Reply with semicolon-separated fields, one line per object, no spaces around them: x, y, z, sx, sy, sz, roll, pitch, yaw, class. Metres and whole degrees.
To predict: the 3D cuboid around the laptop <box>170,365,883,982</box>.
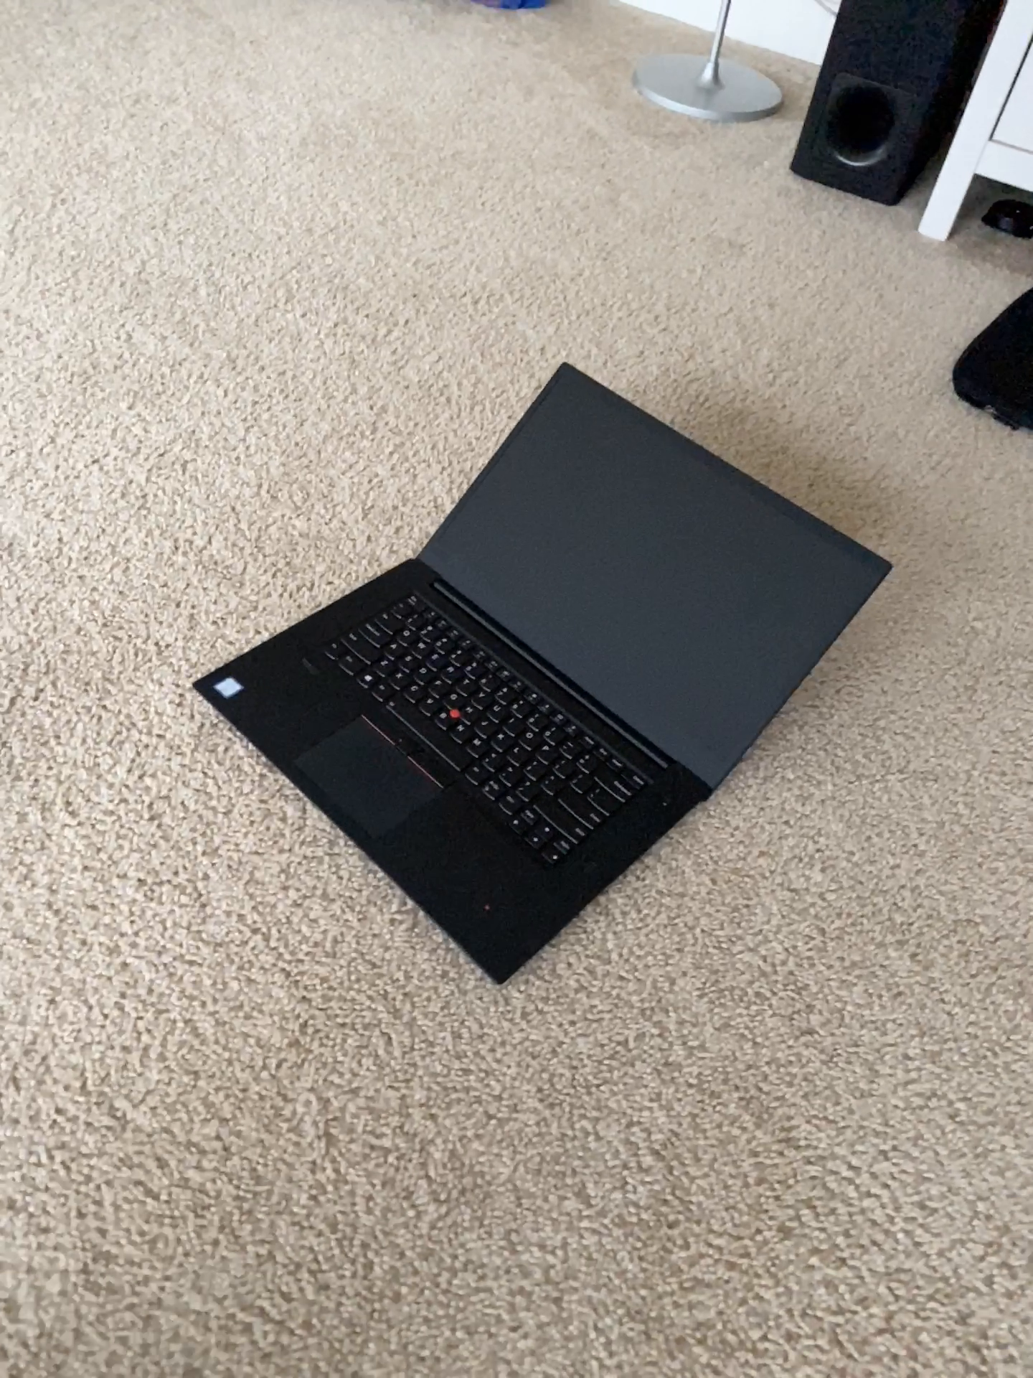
0.015;-0.052;0.870;0.360;0.142;0.433;39;55;24;laptop
